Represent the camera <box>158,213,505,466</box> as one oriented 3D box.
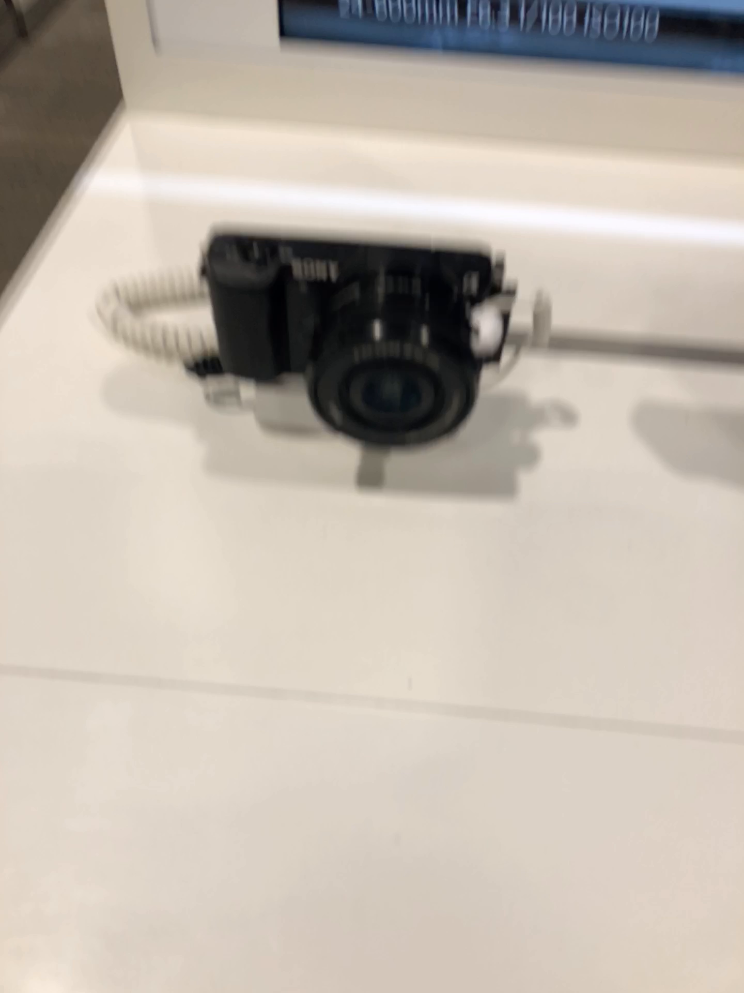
[{"bbox_3d":[-0.012,-0.059,0.306,0.113,0.060,0.062,4,50,2],"label":"camera"}]
